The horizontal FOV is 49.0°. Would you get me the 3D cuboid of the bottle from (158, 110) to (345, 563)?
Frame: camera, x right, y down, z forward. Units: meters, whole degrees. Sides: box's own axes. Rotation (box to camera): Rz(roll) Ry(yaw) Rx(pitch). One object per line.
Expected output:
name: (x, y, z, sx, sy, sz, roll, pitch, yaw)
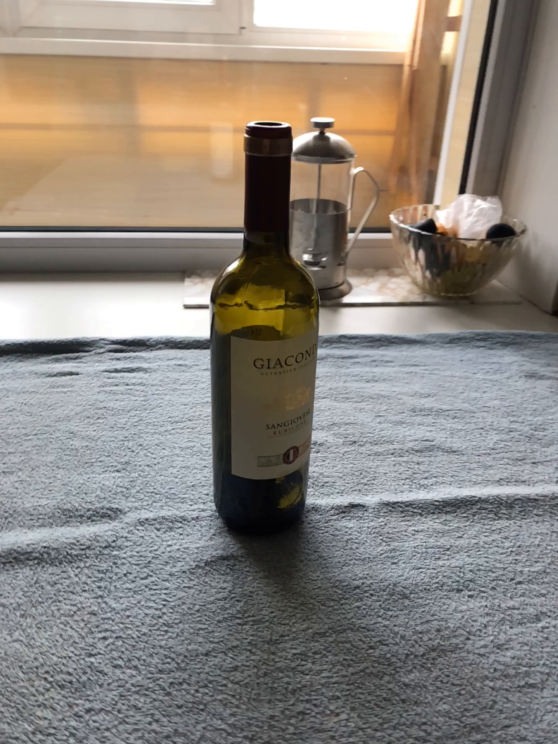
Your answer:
bottle: (-0.022, -0.017, 0.431, 0.080, 0.299, 0.080, 2, 28, -1)
